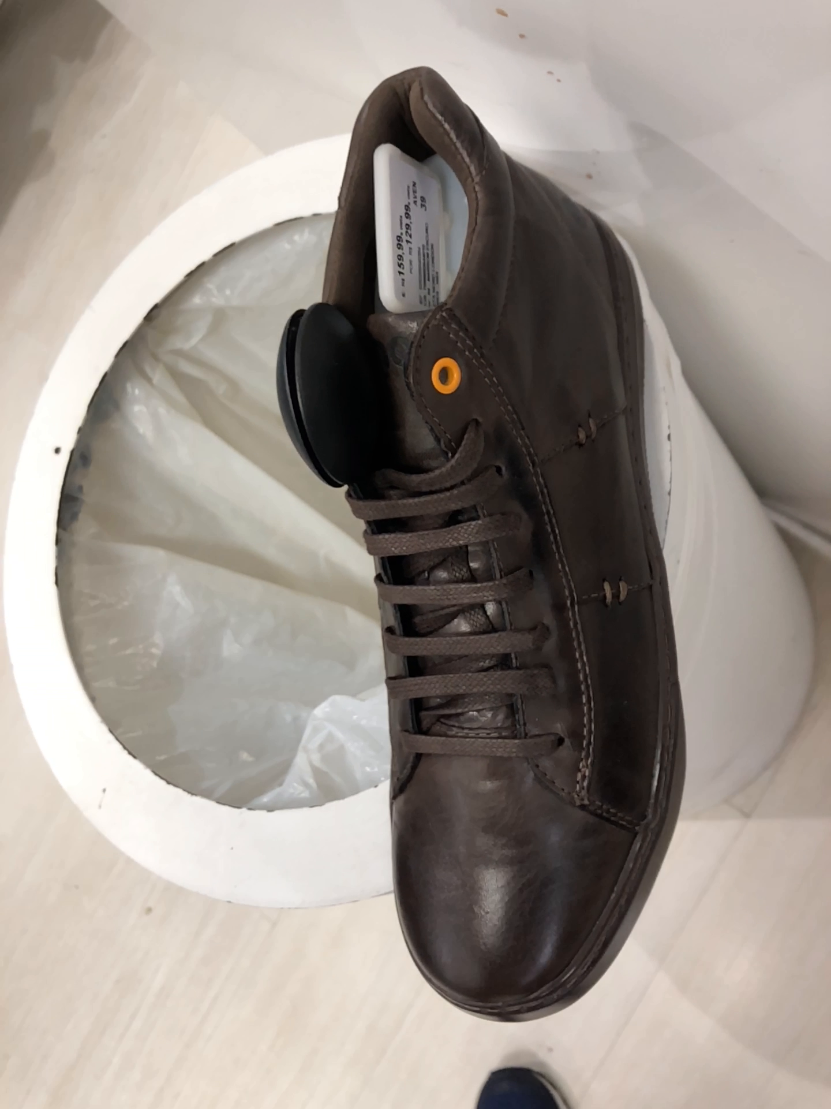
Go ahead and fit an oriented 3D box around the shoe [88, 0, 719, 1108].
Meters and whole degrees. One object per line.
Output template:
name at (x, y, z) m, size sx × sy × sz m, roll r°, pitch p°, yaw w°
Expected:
shoe at (0.015, 0.010, 0.289) m, size 0.120 × 0.140 × 0.270 m, roll 1°, pitch 80°, yaw 28°
